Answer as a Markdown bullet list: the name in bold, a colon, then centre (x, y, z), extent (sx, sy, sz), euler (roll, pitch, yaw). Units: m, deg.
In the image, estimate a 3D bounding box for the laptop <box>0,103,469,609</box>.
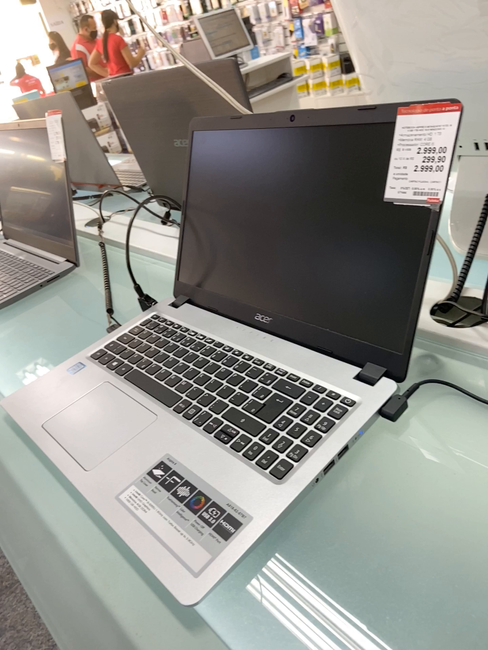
- **laptop**: centre (-0.054, -0.040, 0.485), extent (0.364, 0.204, 0.366), euler (-36, 36, -29)
